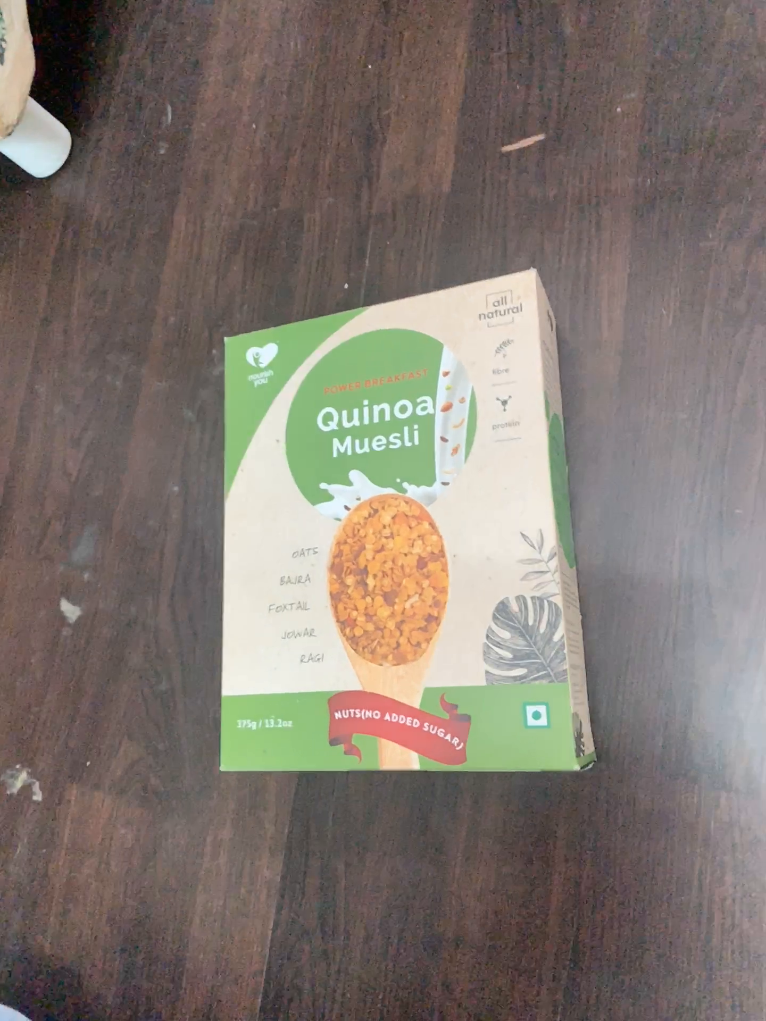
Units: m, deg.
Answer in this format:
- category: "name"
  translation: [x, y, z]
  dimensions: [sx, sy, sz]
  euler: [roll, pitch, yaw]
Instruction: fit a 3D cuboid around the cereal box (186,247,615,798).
- category: "cereal box"
  translation: [0.003, 0.013, 0.359]
  dimensions: [0.171, 0.070, 0.210]
  euler: [-7, 77, 22]
